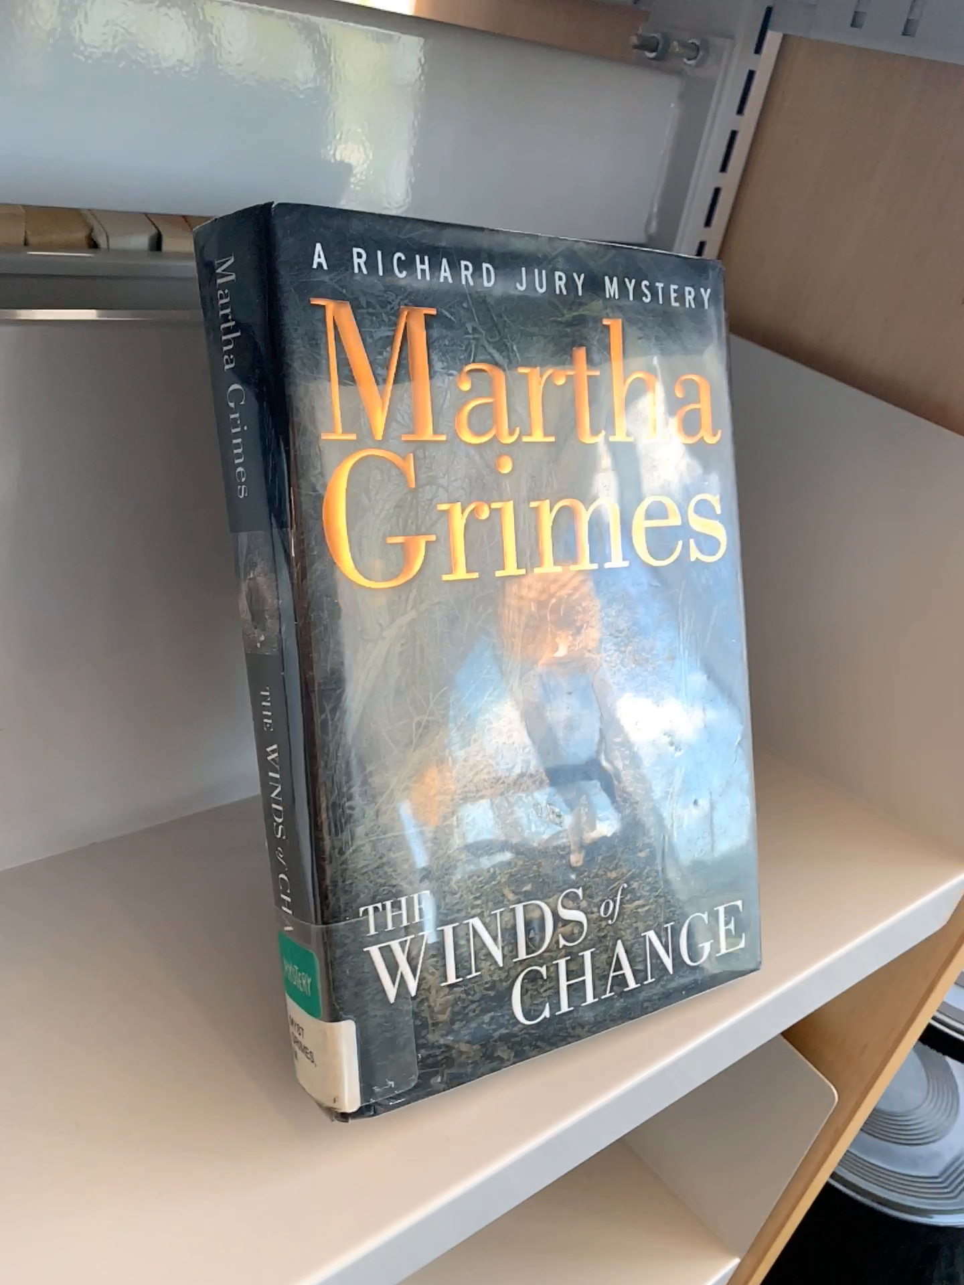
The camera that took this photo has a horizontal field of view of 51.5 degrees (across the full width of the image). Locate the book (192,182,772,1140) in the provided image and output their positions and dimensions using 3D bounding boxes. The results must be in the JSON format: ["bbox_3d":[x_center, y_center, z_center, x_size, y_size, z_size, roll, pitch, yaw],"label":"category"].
[{"bbox_3d":[0.008,-0.001,0.314,0.160,0.244,0.050,-8,6,-30],"label":"book"}]
